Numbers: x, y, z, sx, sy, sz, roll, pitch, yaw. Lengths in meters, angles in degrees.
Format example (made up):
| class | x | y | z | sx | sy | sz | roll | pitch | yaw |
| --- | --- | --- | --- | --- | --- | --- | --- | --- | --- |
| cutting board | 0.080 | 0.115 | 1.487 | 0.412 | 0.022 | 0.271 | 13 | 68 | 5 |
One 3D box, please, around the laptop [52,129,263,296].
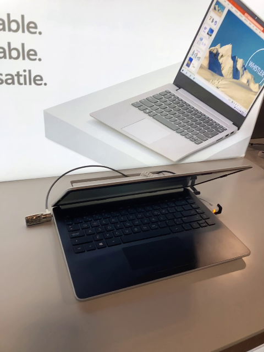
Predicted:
| class | x | y | z | sx | sy | sz | roll | pitch | yaw |
| --- | --- | --- | --- | --- | --- | --- | --- | --- | --- |
| laptop | 0.032 | 0.034 | 0.513 | 0.302 | 0.155 | 0.226 | -7 | 30 | -21 |
